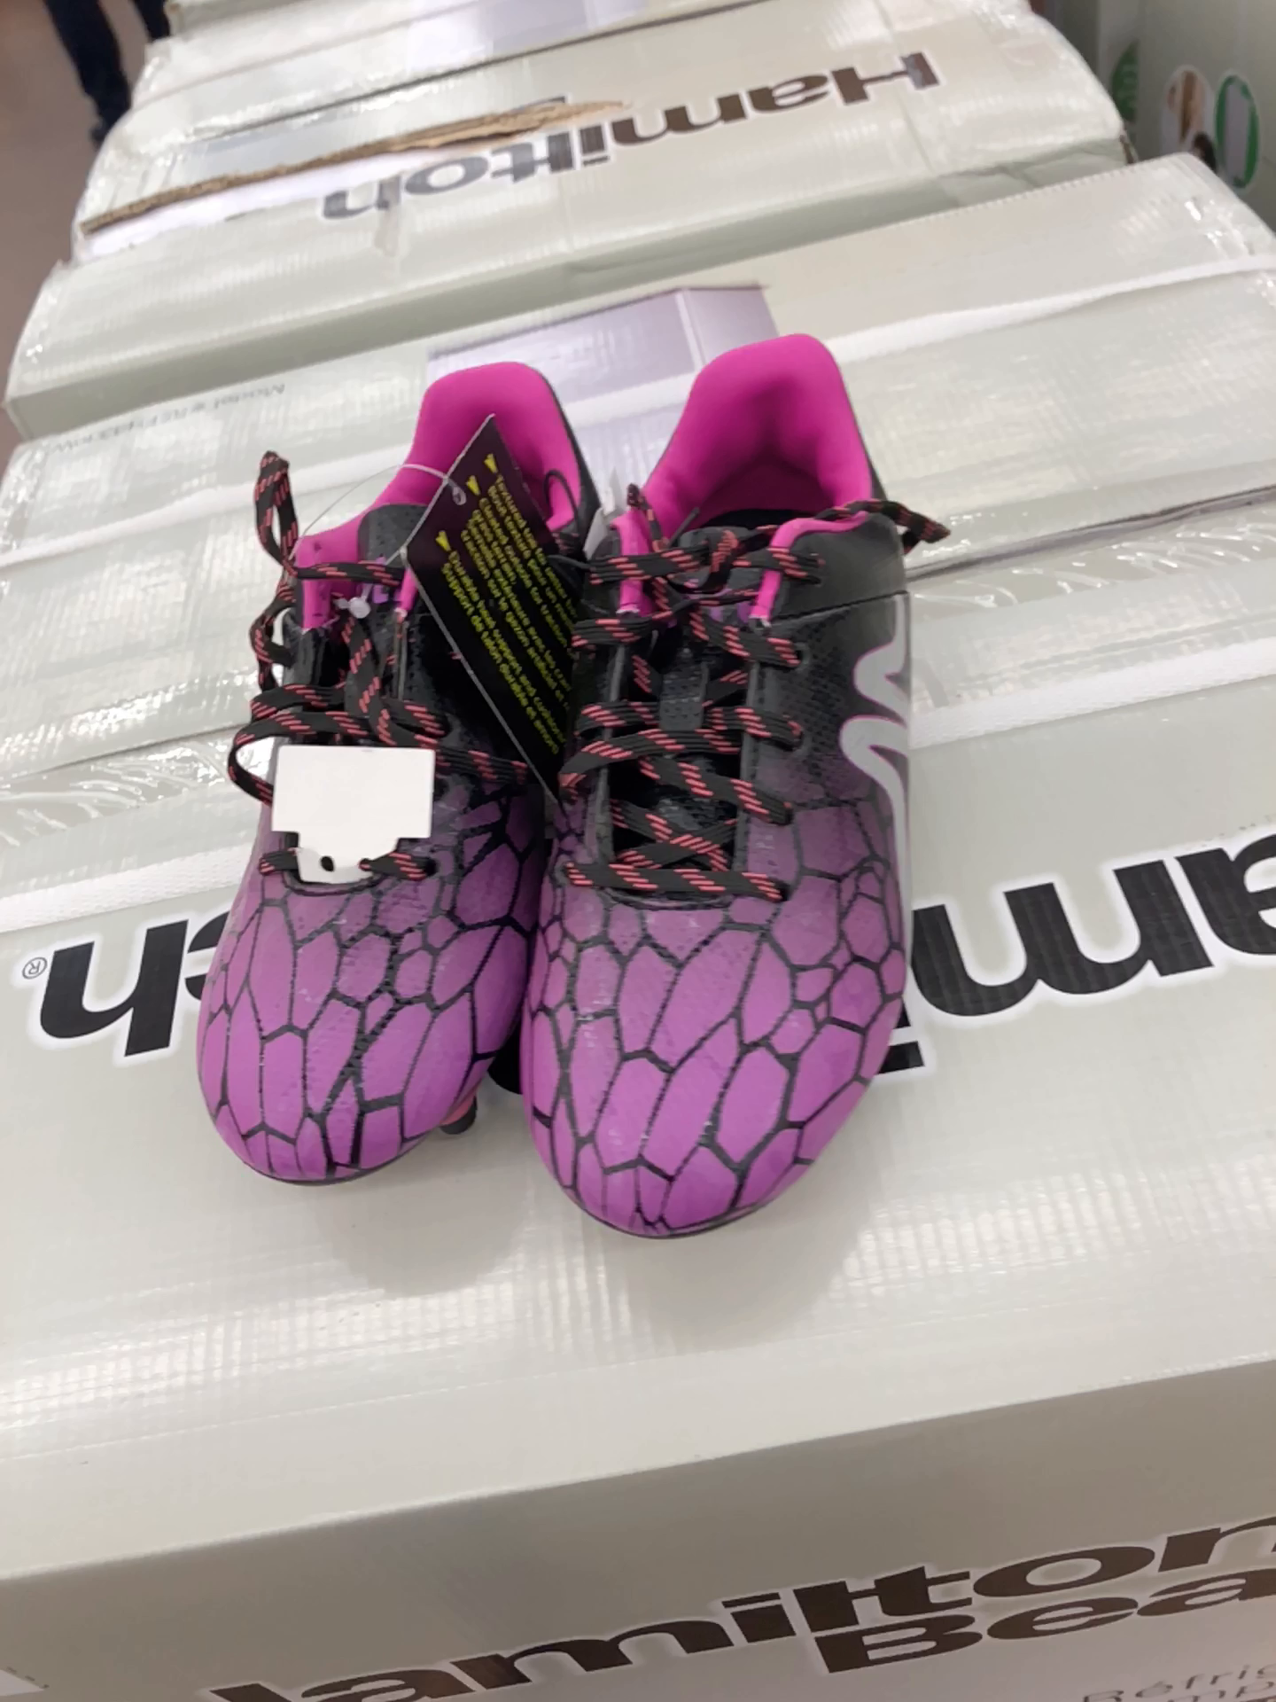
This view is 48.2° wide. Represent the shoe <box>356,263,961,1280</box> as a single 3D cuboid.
[{"bbox_3d":[0.022,-0.029,0.302,0.080,0.080,0.211,0,49,16],"label":"shoe"}]

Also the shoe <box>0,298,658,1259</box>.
[{"bbox_3d":[-0.062,-0.028,0.320,0.080,0.080,0.210,1,50,17],"label":"shoe"}]
